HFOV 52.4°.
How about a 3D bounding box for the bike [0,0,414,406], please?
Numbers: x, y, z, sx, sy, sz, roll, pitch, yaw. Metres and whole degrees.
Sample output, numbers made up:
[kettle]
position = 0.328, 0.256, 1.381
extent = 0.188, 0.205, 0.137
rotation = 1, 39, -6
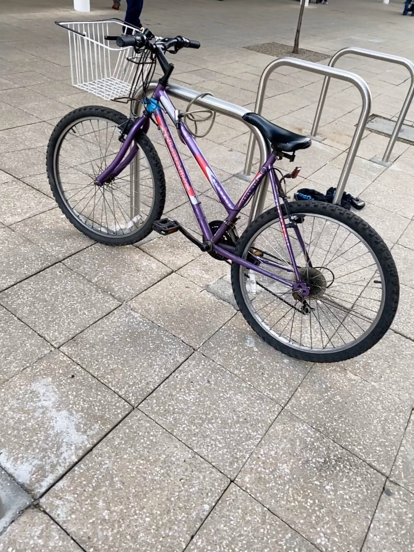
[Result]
[bike]
position = 0.022, -0.421, 1.784
extent = 1.734, 1.042, 0.584
rotation = 26, 41, 20
